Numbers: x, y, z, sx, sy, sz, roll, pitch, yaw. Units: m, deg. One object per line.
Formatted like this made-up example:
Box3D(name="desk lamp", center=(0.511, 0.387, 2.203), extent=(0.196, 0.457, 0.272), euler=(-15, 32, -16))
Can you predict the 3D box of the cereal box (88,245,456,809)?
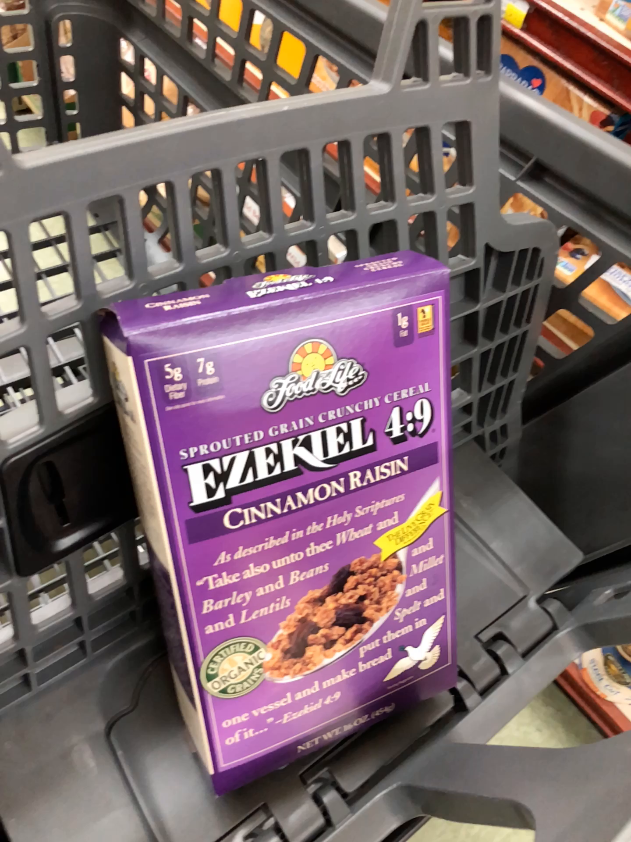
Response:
Box3D(name="cereal box", center=(-0.008, 0.051, 0.356), extent=(0.150, 0.250, 0.060), euler=(-16, 25, -24))
